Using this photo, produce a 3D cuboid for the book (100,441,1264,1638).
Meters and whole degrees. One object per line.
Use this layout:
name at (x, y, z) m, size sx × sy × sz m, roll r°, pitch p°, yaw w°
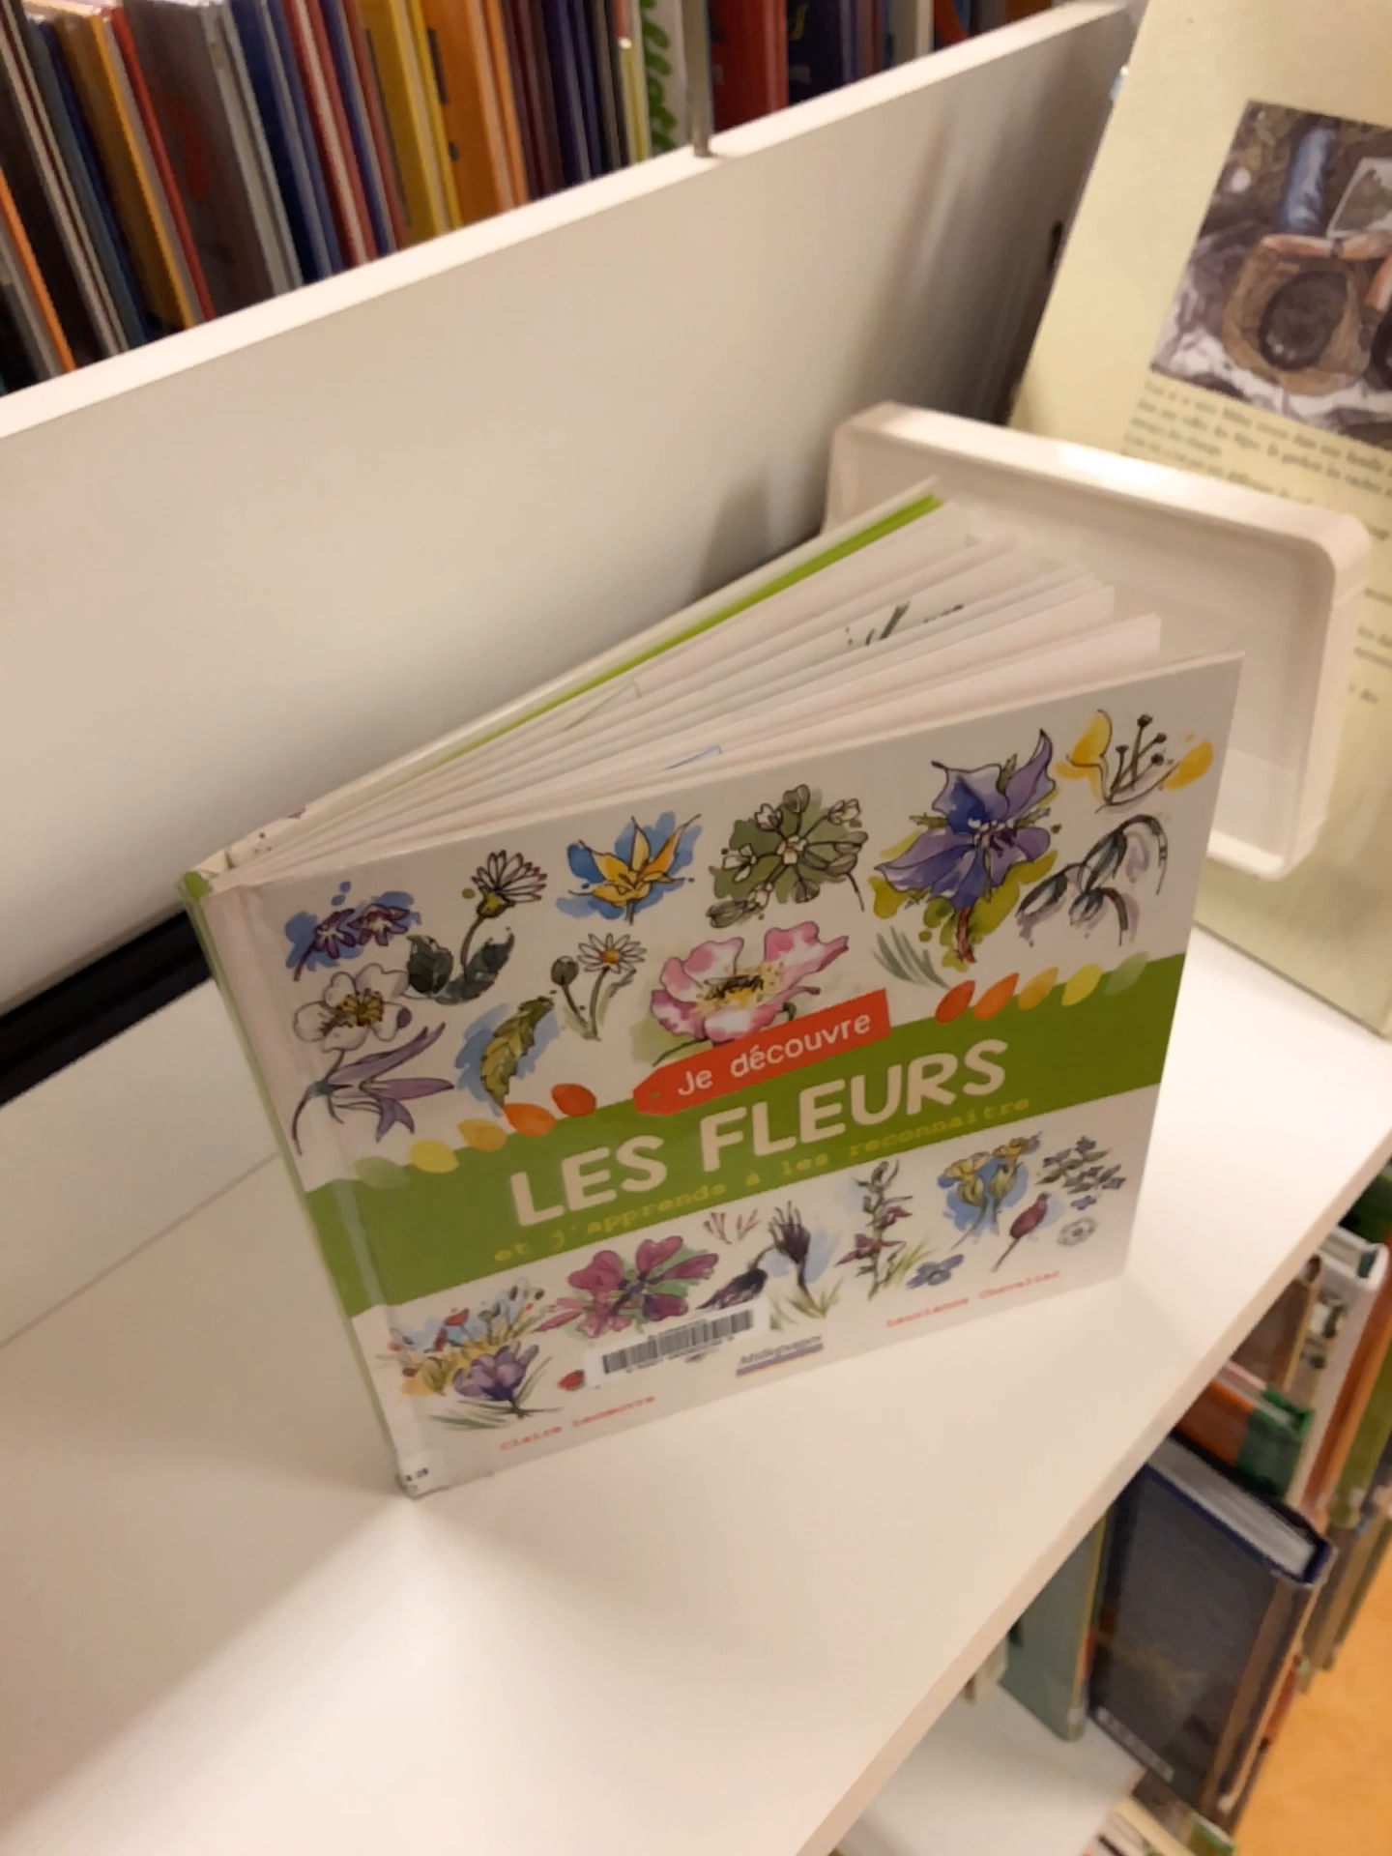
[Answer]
book at (0.003, 0.028, 0.377) m, size 0.209 × 0.214 × 0.104 m, roll -21°, pitch 42°, yaw -17°
